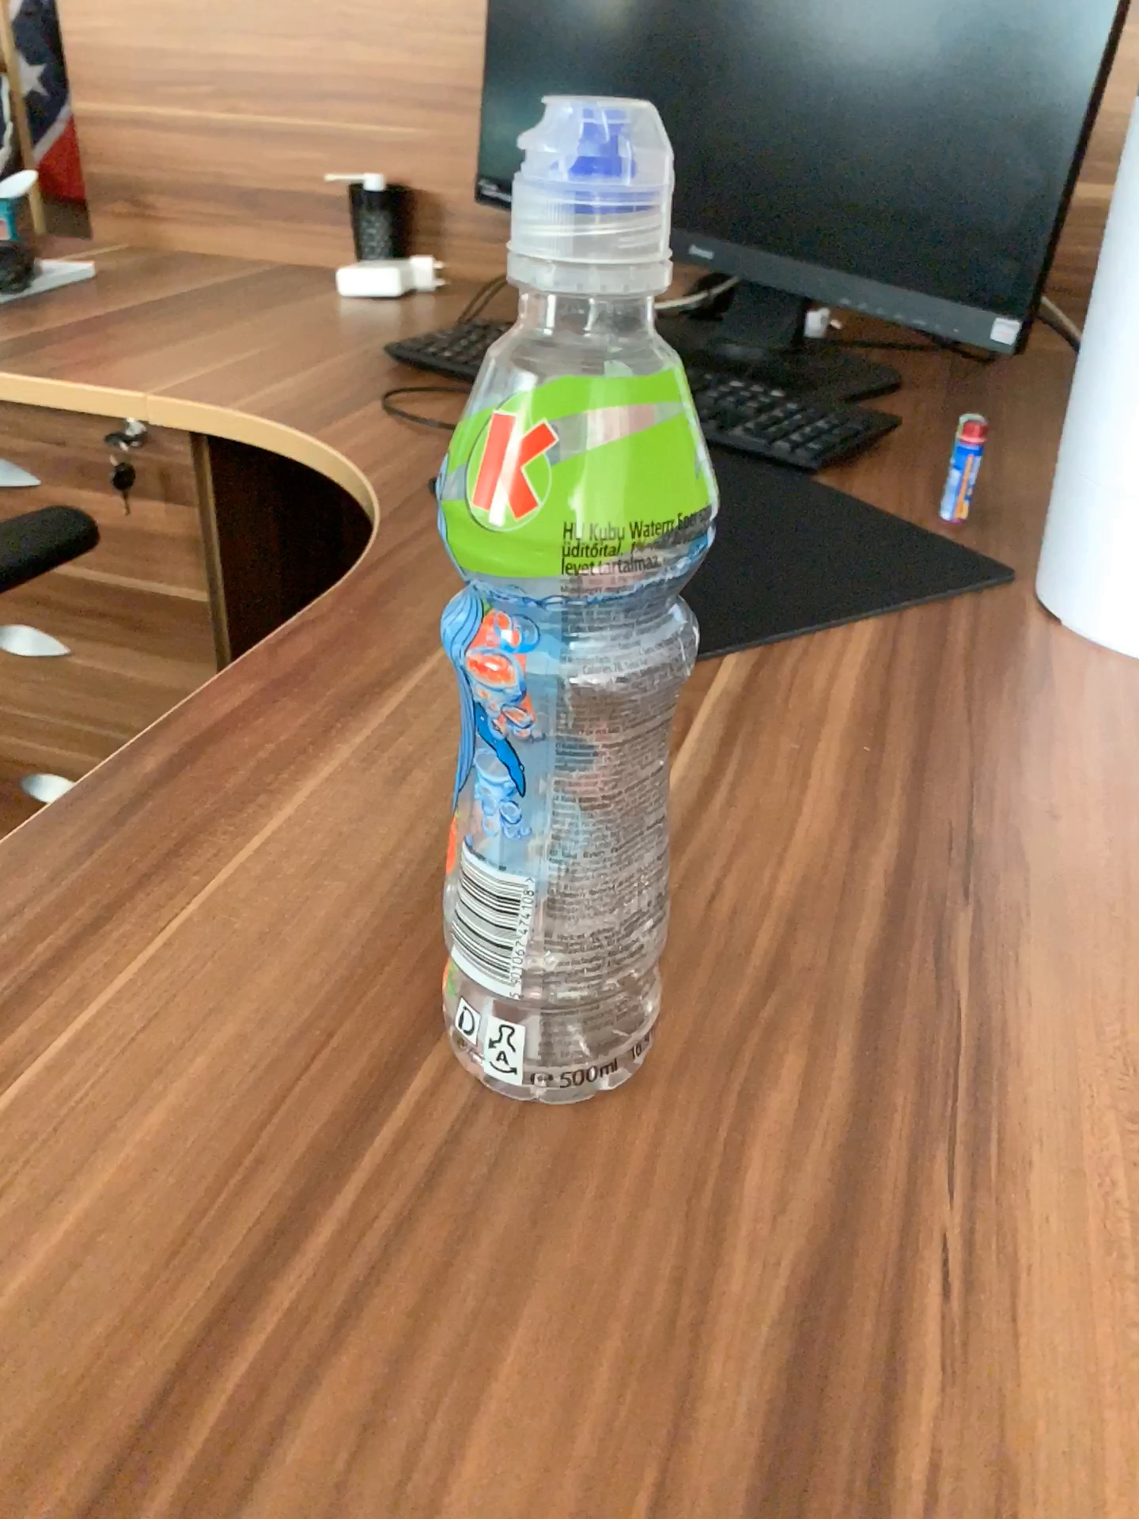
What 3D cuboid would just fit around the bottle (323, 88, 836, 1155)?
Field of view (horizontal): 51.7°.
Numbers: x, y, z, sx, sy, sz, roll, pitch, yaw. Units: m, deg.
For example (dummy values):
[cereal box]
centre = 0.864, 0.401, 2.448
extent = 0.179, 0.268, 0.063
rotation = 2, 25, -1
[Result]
[bottle]
centre = -0.004, -0.024, 0.288
extent = 0.070, 0.239, 0.070
rotation = 3, 31, -2
